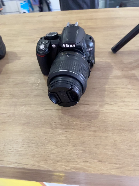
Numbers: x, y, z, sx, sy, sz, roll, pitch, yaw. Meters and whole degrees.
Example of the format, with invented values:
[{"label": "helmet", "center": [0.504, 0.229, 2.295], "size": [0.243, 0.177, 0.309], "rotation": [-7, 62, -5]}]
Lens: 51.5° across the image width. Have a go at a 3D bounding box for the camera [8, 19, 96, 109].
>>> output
[{"label": "camera", "center": [-0.013, -0.070, 0.304], "size": [0.130, 0.089, 0.181], "rotation": [2, 48, 10]}]
